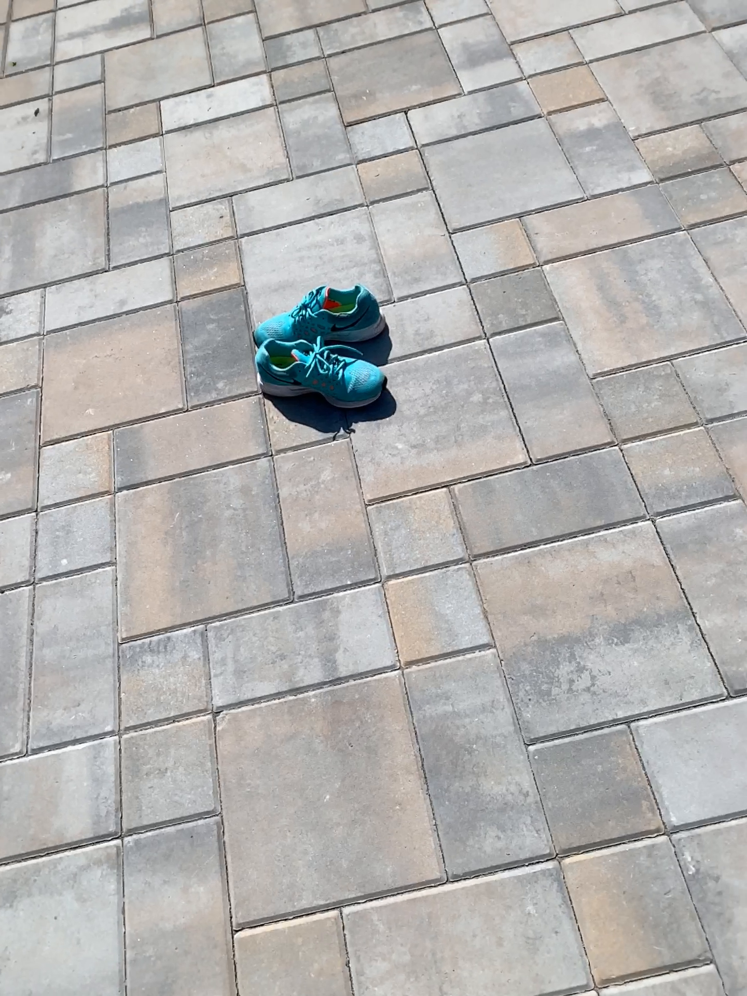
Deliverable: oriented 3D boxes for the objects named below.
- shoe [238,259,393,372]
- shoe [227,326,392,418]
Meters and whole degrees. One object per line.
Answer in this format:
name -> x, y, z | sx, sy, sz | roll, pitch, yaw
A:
shoe -> -0.110, -0.346, 1.452 | 0.270, 0.100, 0.130 | -10, 60, 3
shoe -> -0.117, -0.239, 1.439 | 0.270, 0.100, 0.130 | 5, 61, 18
